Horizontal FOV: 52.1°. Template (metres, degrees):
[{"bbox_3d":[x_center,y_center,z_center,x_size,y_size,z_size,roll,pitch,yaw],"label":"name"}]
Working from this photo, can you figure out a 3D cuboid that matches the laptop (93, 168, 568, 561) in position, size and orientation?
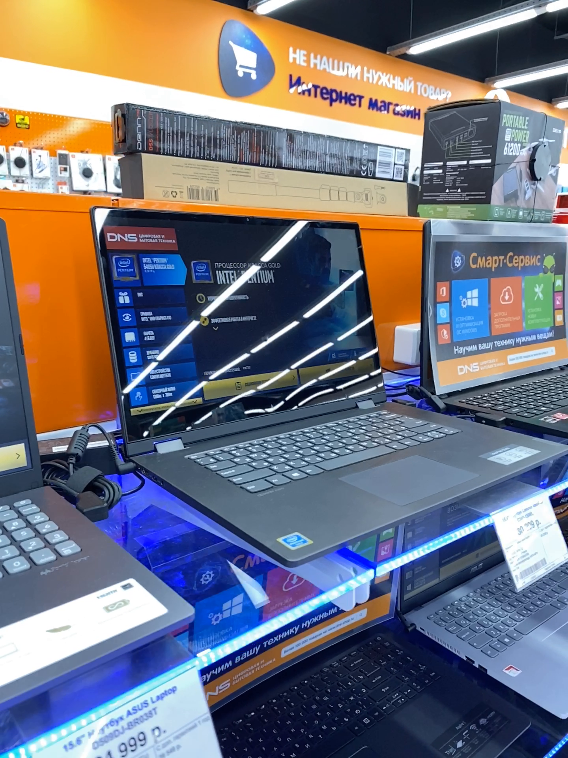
[{"bbox_3d":[0.053,-0.047,0.574,0.362,0.232,0.318,-8,14,-39],"label":"laptop"}]
